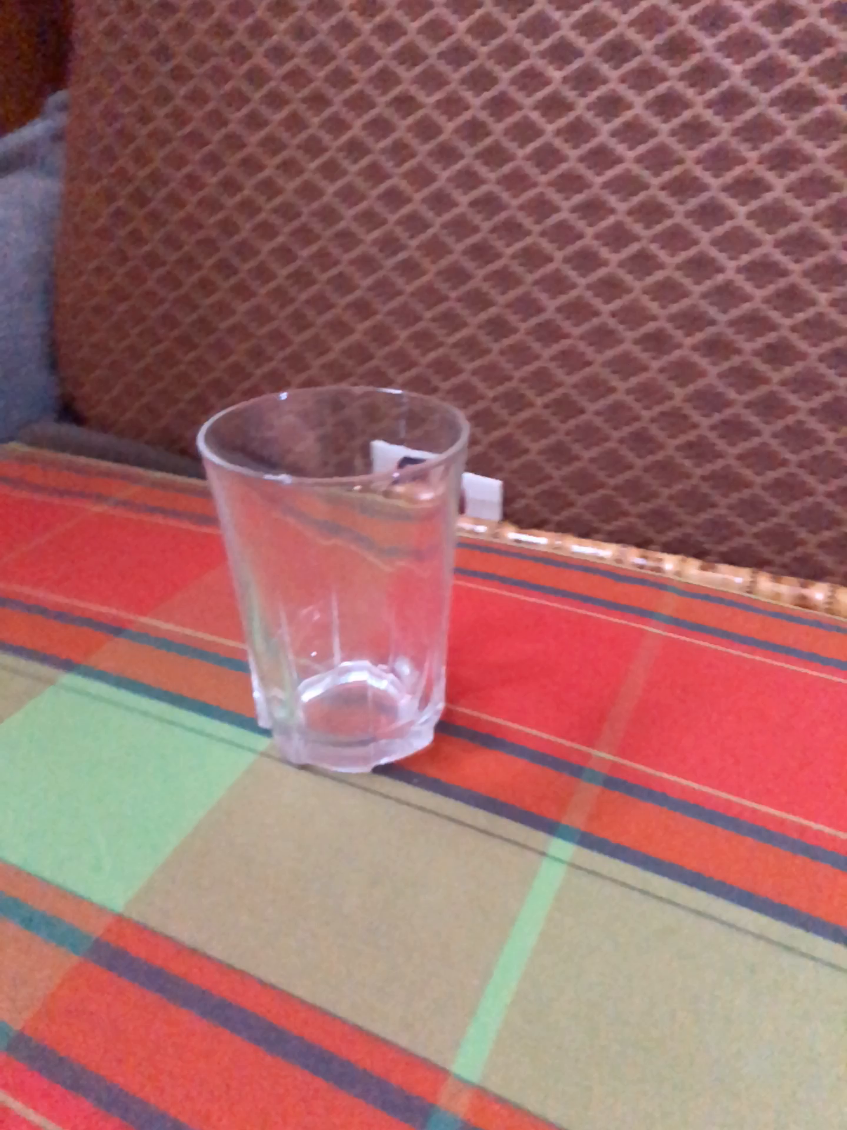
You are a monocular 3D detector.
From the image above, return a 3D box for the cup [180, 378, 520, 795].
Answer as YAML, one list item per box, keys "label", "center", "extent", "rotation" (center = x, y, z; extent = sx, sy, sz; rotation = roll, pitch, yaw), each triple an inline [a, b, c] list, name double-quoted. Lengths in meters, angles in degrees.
- label: "cup"
  center: [-0.012, 0.003, 0.243]
  extent: [0.070, 0.080, 0.070]
  rotation: [0, 30, 0]
